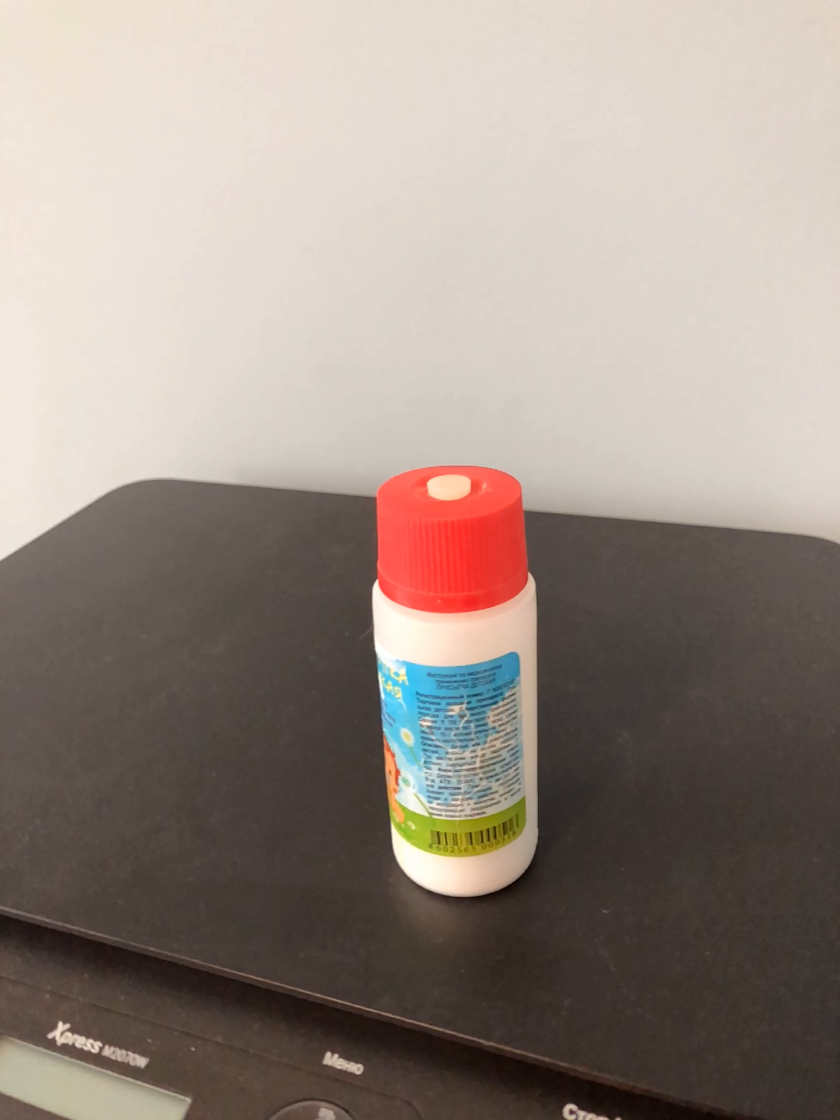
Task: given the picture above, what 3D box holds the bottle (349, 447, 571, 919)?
[{"bbox_3d":[0.011,0.033,0.245,0.044,0.112,0.042,-3,26,1],"label":"bottle"}]
